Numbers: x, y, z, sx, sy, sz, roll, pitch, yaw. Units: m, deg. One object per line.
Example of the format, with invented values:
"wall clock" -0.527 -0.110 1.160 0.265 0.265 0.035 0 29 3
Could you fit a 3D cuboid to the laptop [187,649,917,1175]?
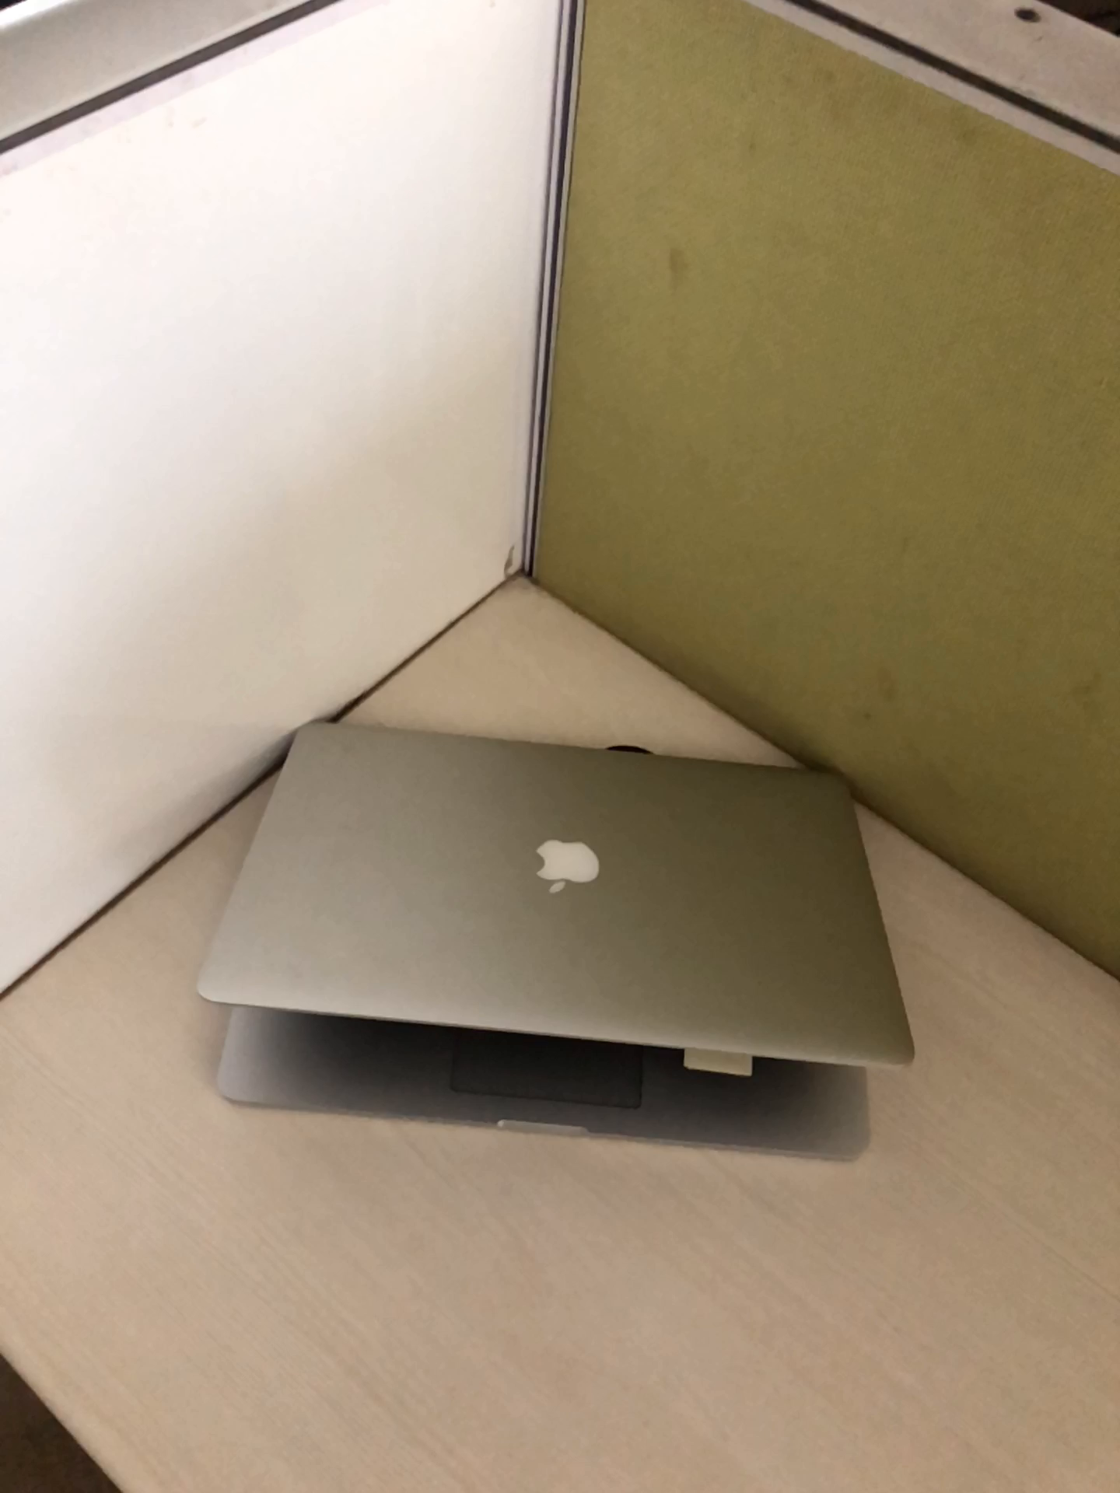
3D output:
"laptop" 0.003 0.084 0.680 0.343 0.083 0.244 6 55 -1
